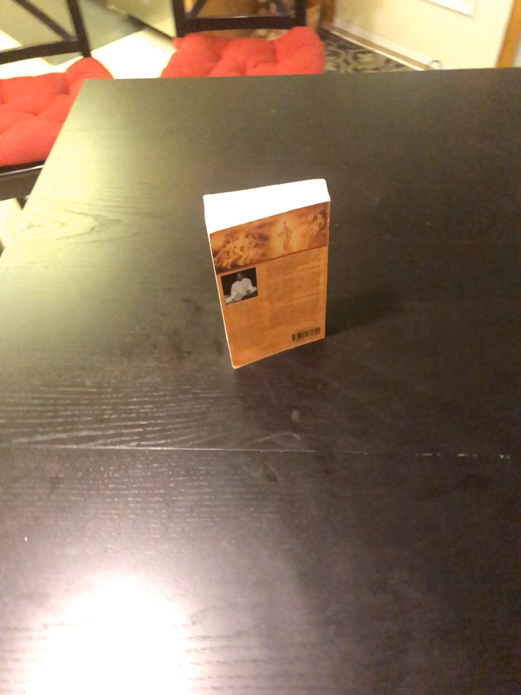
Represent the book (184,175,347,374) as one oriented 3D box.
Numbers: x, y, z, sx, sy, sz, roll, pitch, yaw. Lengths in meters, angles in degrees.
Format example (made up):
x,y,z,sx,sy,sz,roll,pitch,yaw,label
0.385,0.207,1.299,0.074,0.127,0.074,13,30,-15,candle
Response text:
x,y,z,sx,sy,sz,roll,pitch,yaw,label
0.007,-0.061,0.543,0.126,0.174,0.059,-10,50,-4,book
